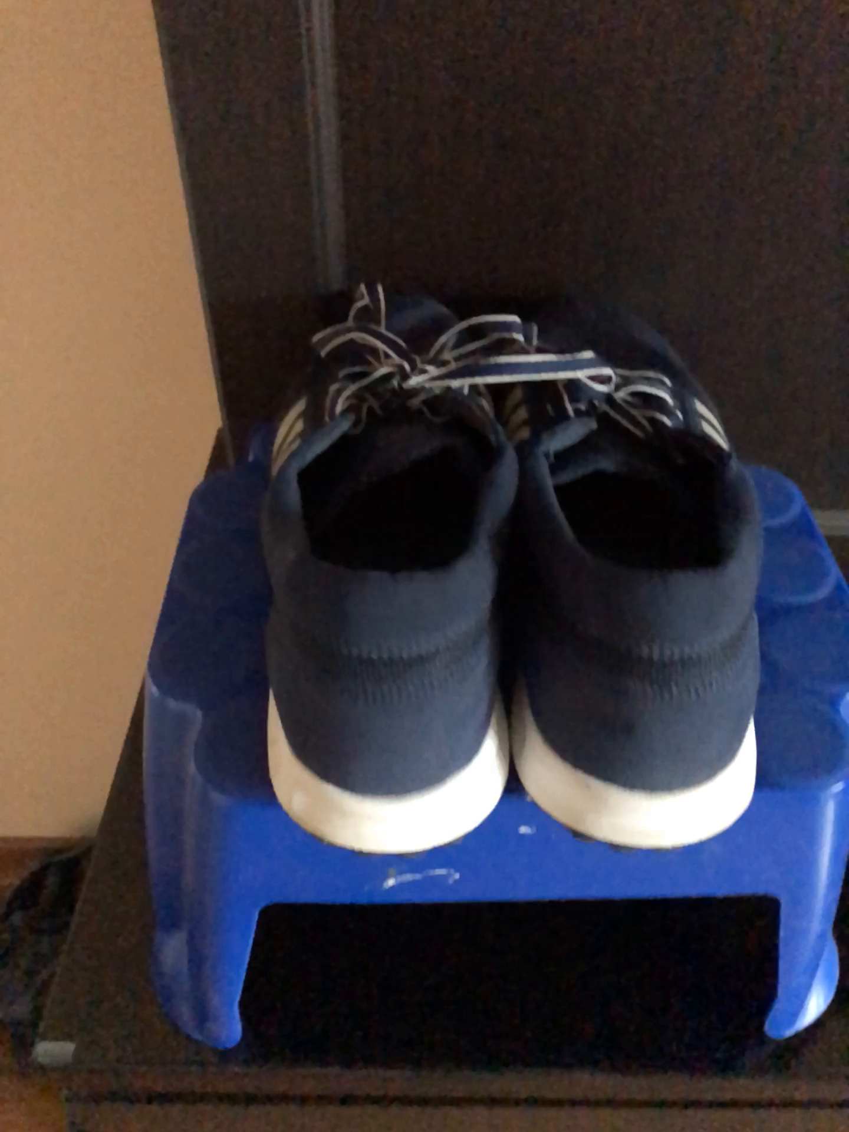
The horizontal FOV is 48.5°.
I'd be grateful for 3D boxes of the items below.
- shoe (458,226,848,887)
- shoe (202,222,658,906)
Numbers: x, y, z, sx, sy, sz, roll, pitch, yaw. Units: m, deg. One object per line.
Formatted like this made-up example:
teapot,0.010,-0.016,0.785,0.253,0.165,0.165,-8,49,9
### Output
shoe,0.073,-0.024,0.369,0.110,0.109,0.262,1,43,0
shoe,-0.005,-0.023,0.360,0.110,0.109,0.262,-1,43,-2
